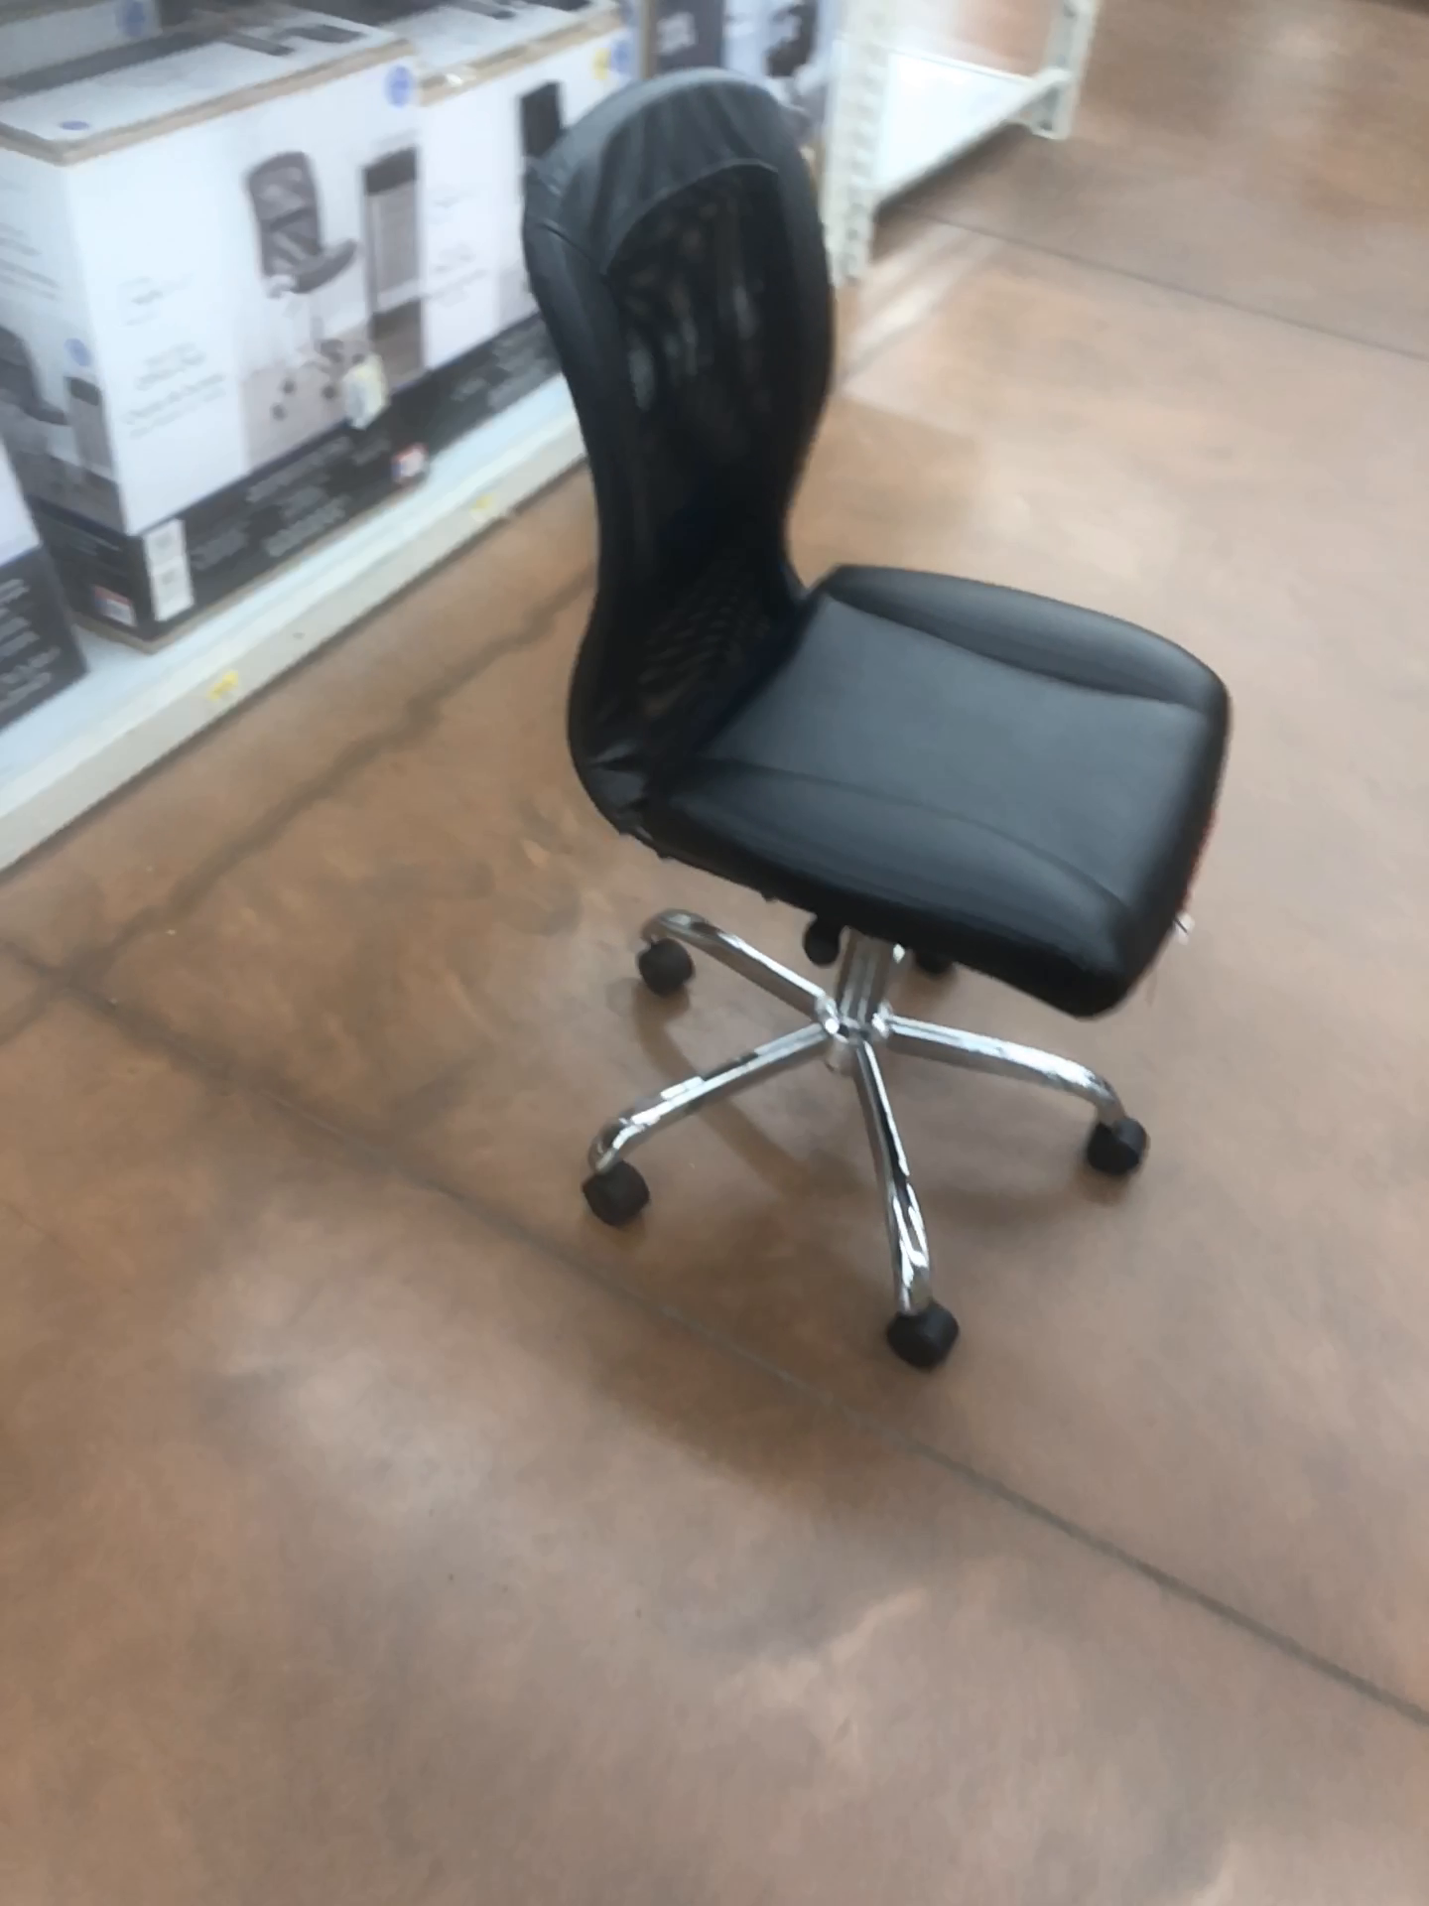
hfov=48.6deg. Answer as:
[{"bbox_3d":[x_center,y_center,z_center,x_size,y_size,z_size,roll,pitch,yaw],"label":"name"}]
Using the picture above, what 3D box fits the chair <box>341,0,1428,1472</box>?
[{"bbox_3d":[0.208,-0.212,1.266,0.650,0.817,0.683,23,46,16],"label":"chair"}]
